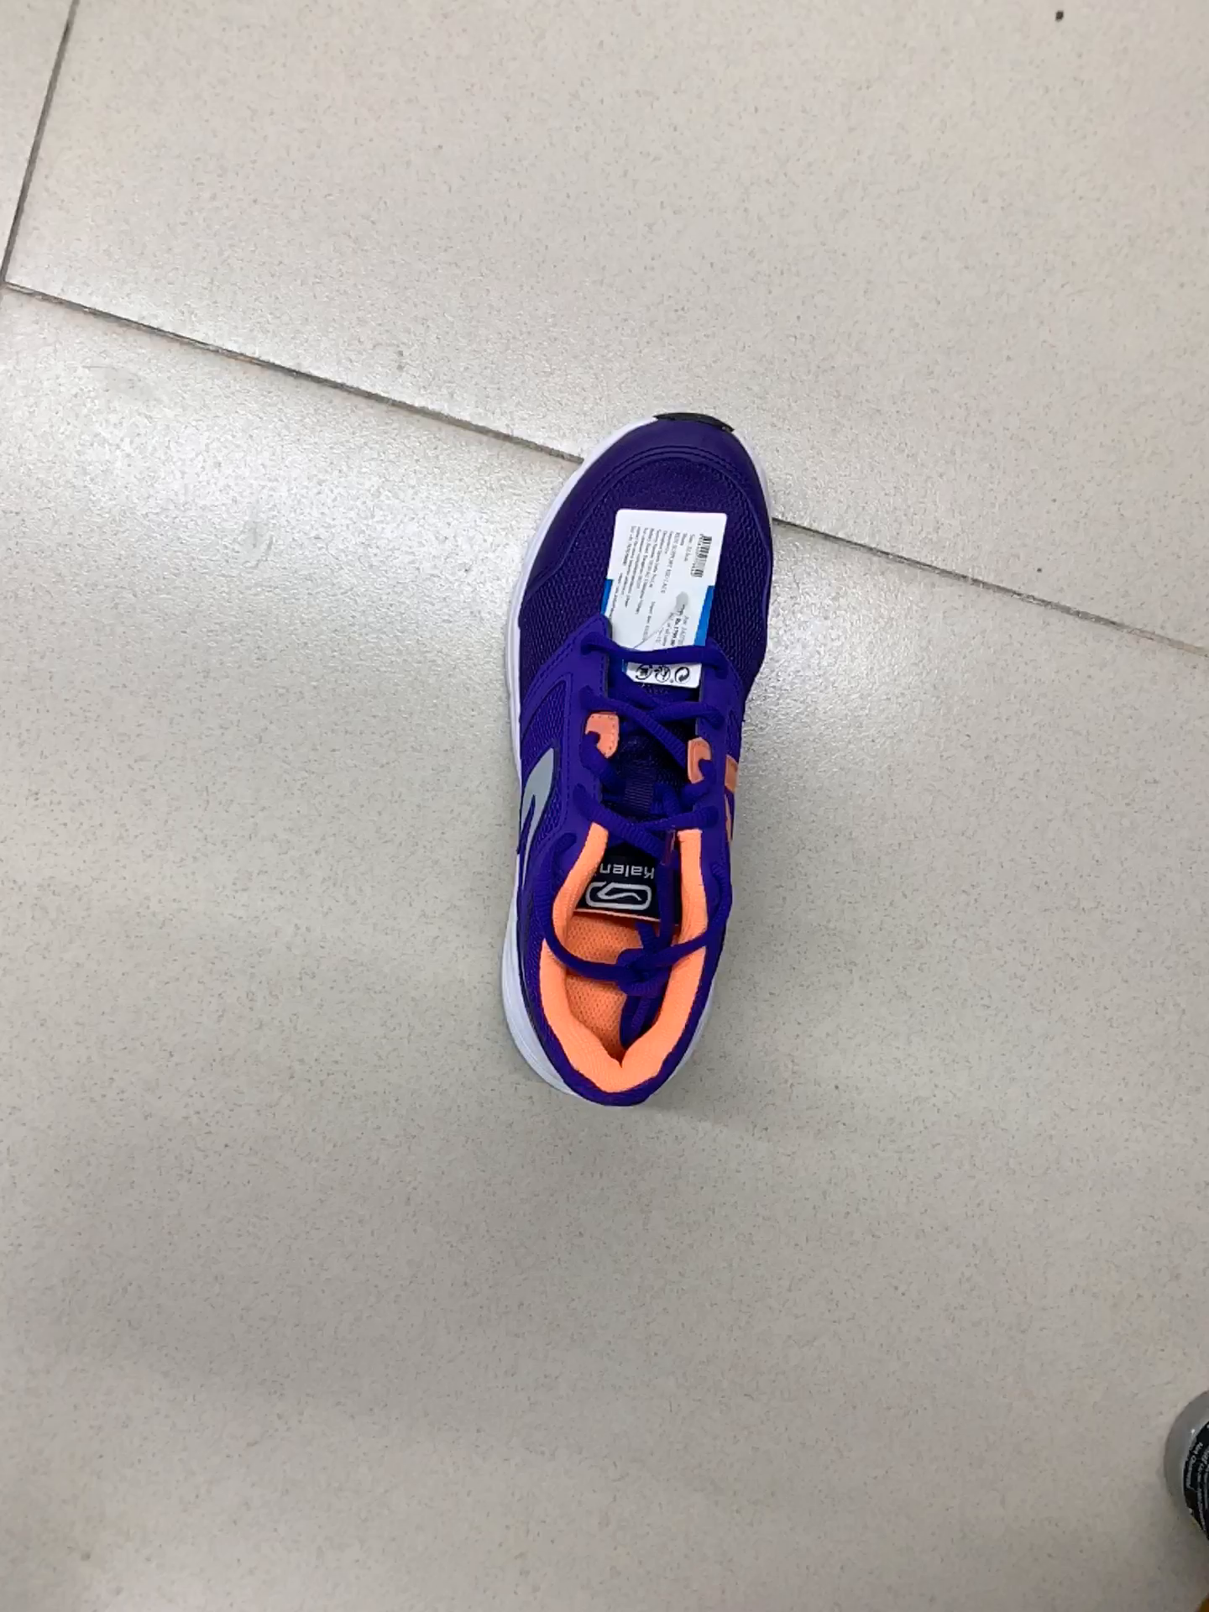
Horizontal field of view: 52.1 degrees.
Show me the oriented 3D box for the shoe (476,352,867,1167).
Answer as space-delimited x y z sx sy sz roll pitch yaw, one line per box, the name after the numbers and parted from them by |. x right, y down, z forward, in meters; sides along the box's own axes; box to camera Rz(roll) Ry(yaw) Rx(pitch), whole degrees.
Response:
0.017 -0.014 0.442 0.100 0.100 0.250 5 93 -5 | shoe
